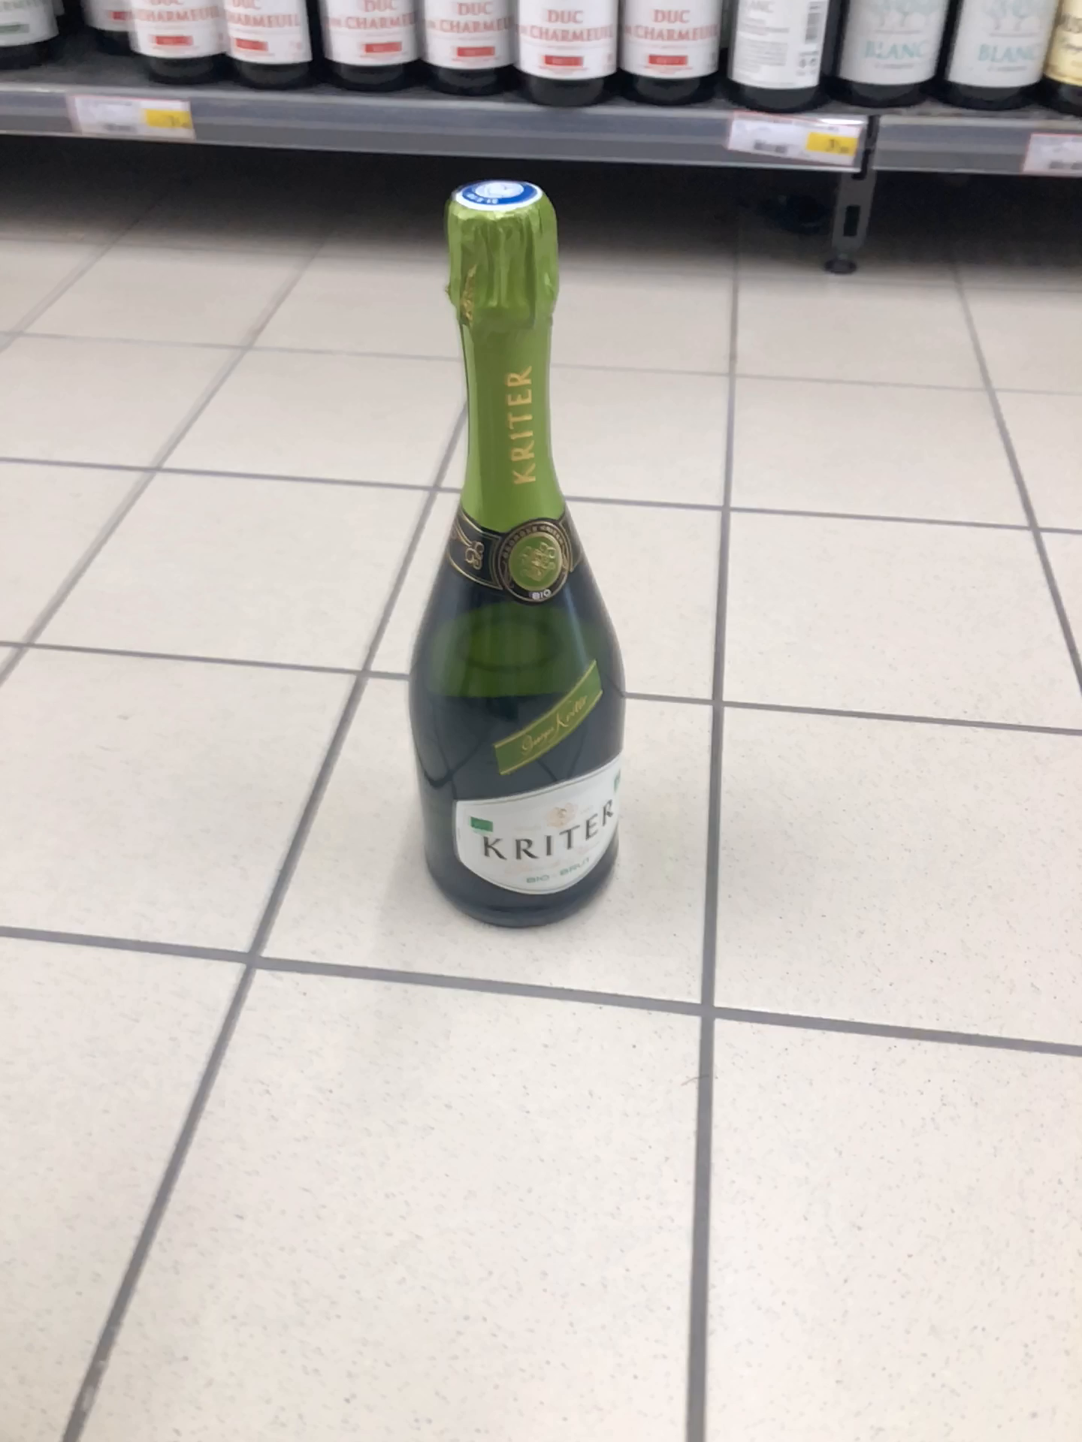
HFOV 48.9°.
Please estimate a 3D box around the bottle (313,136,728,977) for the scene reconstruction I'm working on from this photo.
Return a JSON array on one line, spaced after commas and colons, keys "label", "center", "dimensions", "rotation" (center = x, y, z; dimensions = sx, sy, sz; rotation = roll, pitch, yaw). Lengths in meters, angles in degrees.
[{"label": "bottle", "center": [-0.009, -0.046, 0.467], "dimensions": [0.100, 0.308, 0.090], "rotation": [-17, 43, -19]}]
